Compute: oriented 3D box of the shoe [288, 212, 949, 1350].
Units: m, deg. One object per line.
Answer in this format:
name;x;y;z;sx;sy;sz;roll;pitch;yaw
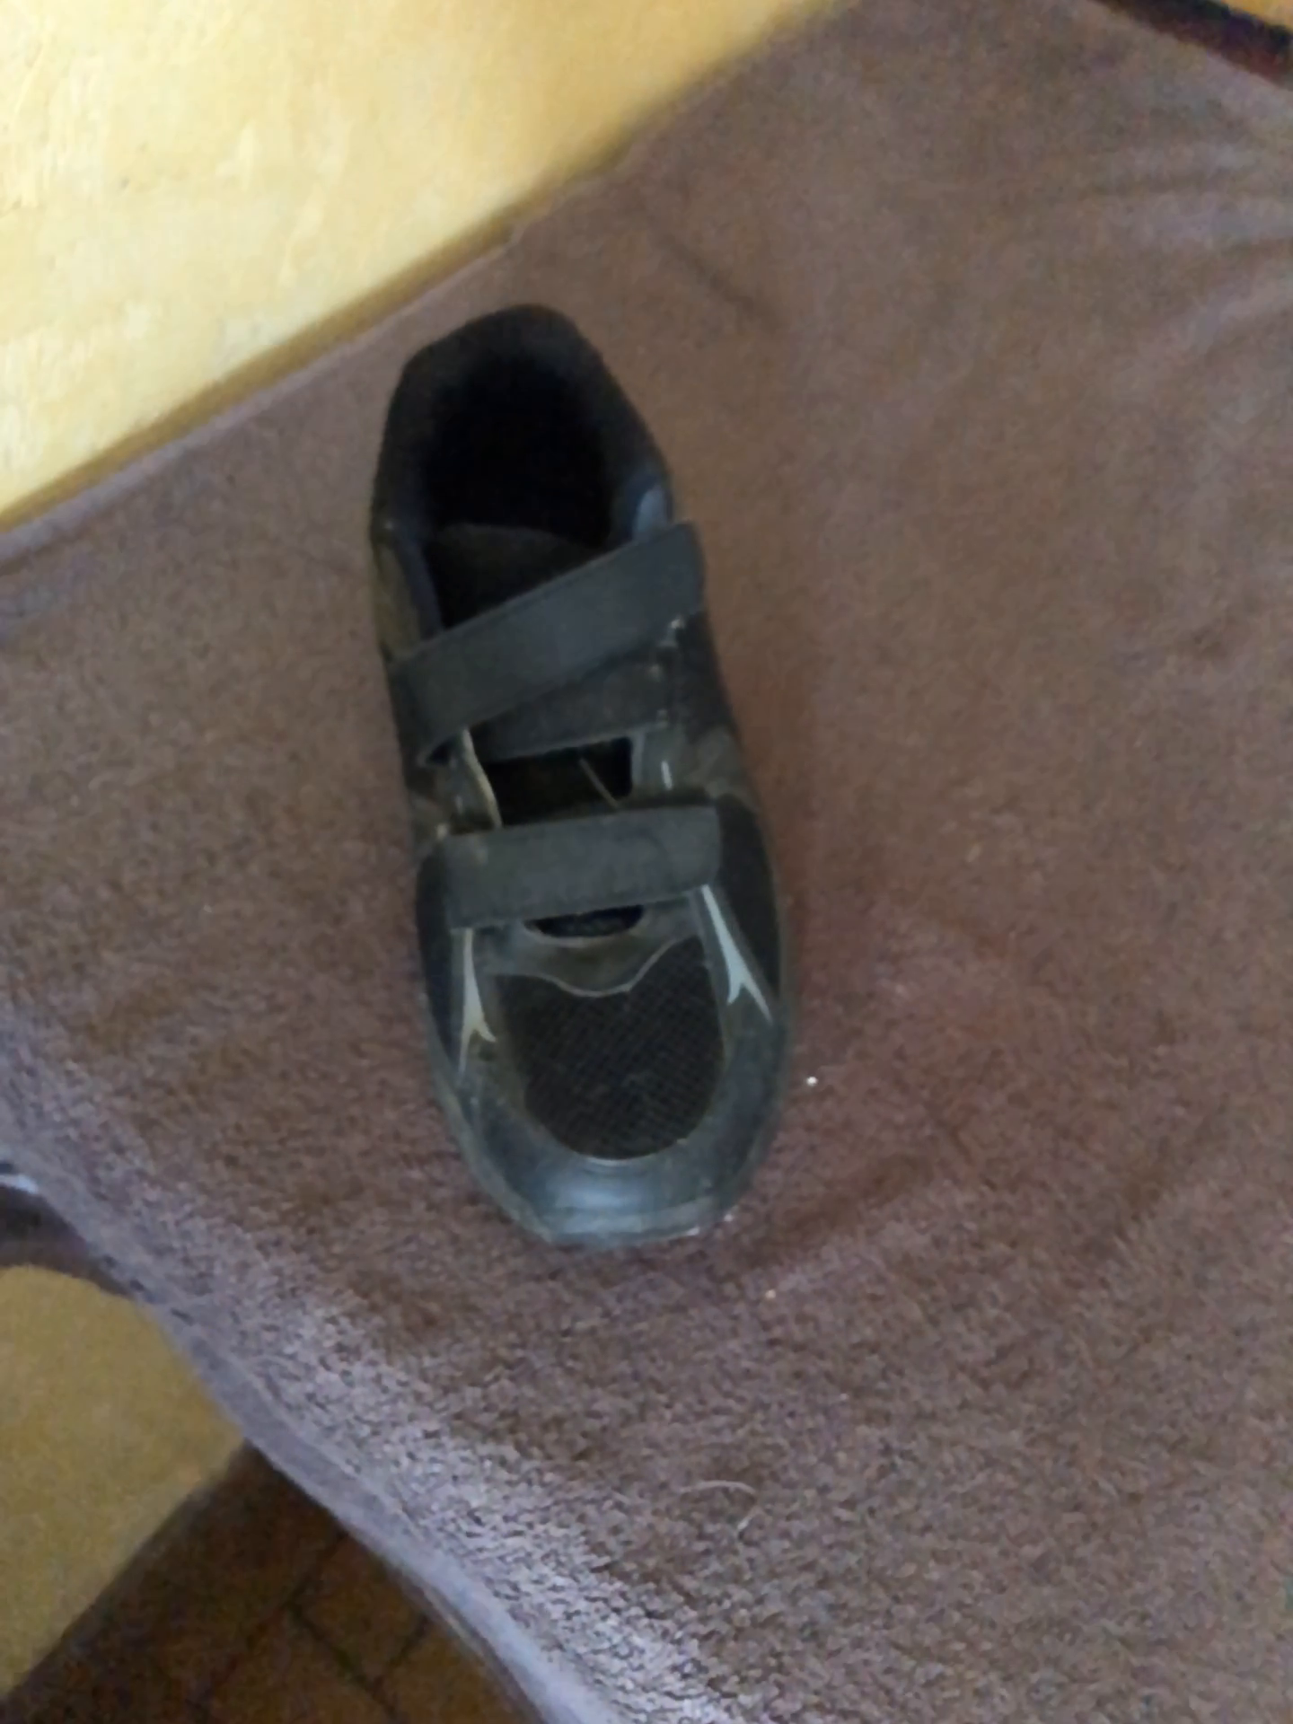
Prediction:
shoe;-0.021;-0.033;0.377;0.110;0.110;0.271;-8;58;-5
